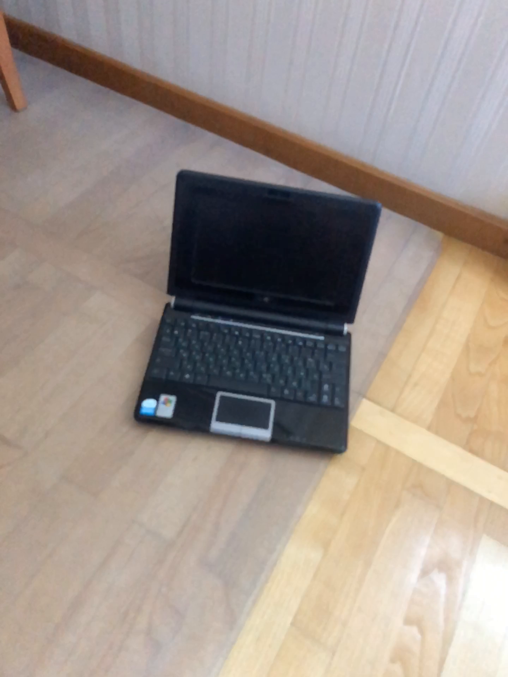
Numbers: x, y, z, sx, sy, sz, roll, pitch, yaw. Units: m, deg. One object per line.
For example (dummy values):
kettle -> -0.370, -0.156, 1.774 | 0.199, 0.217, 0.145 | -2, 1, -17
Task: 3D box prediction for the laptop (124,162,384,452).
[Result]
laptop -> 0.009, -0.043, 0.693 | 0.263, 0.159, 0.278 | 9, 54, -1
